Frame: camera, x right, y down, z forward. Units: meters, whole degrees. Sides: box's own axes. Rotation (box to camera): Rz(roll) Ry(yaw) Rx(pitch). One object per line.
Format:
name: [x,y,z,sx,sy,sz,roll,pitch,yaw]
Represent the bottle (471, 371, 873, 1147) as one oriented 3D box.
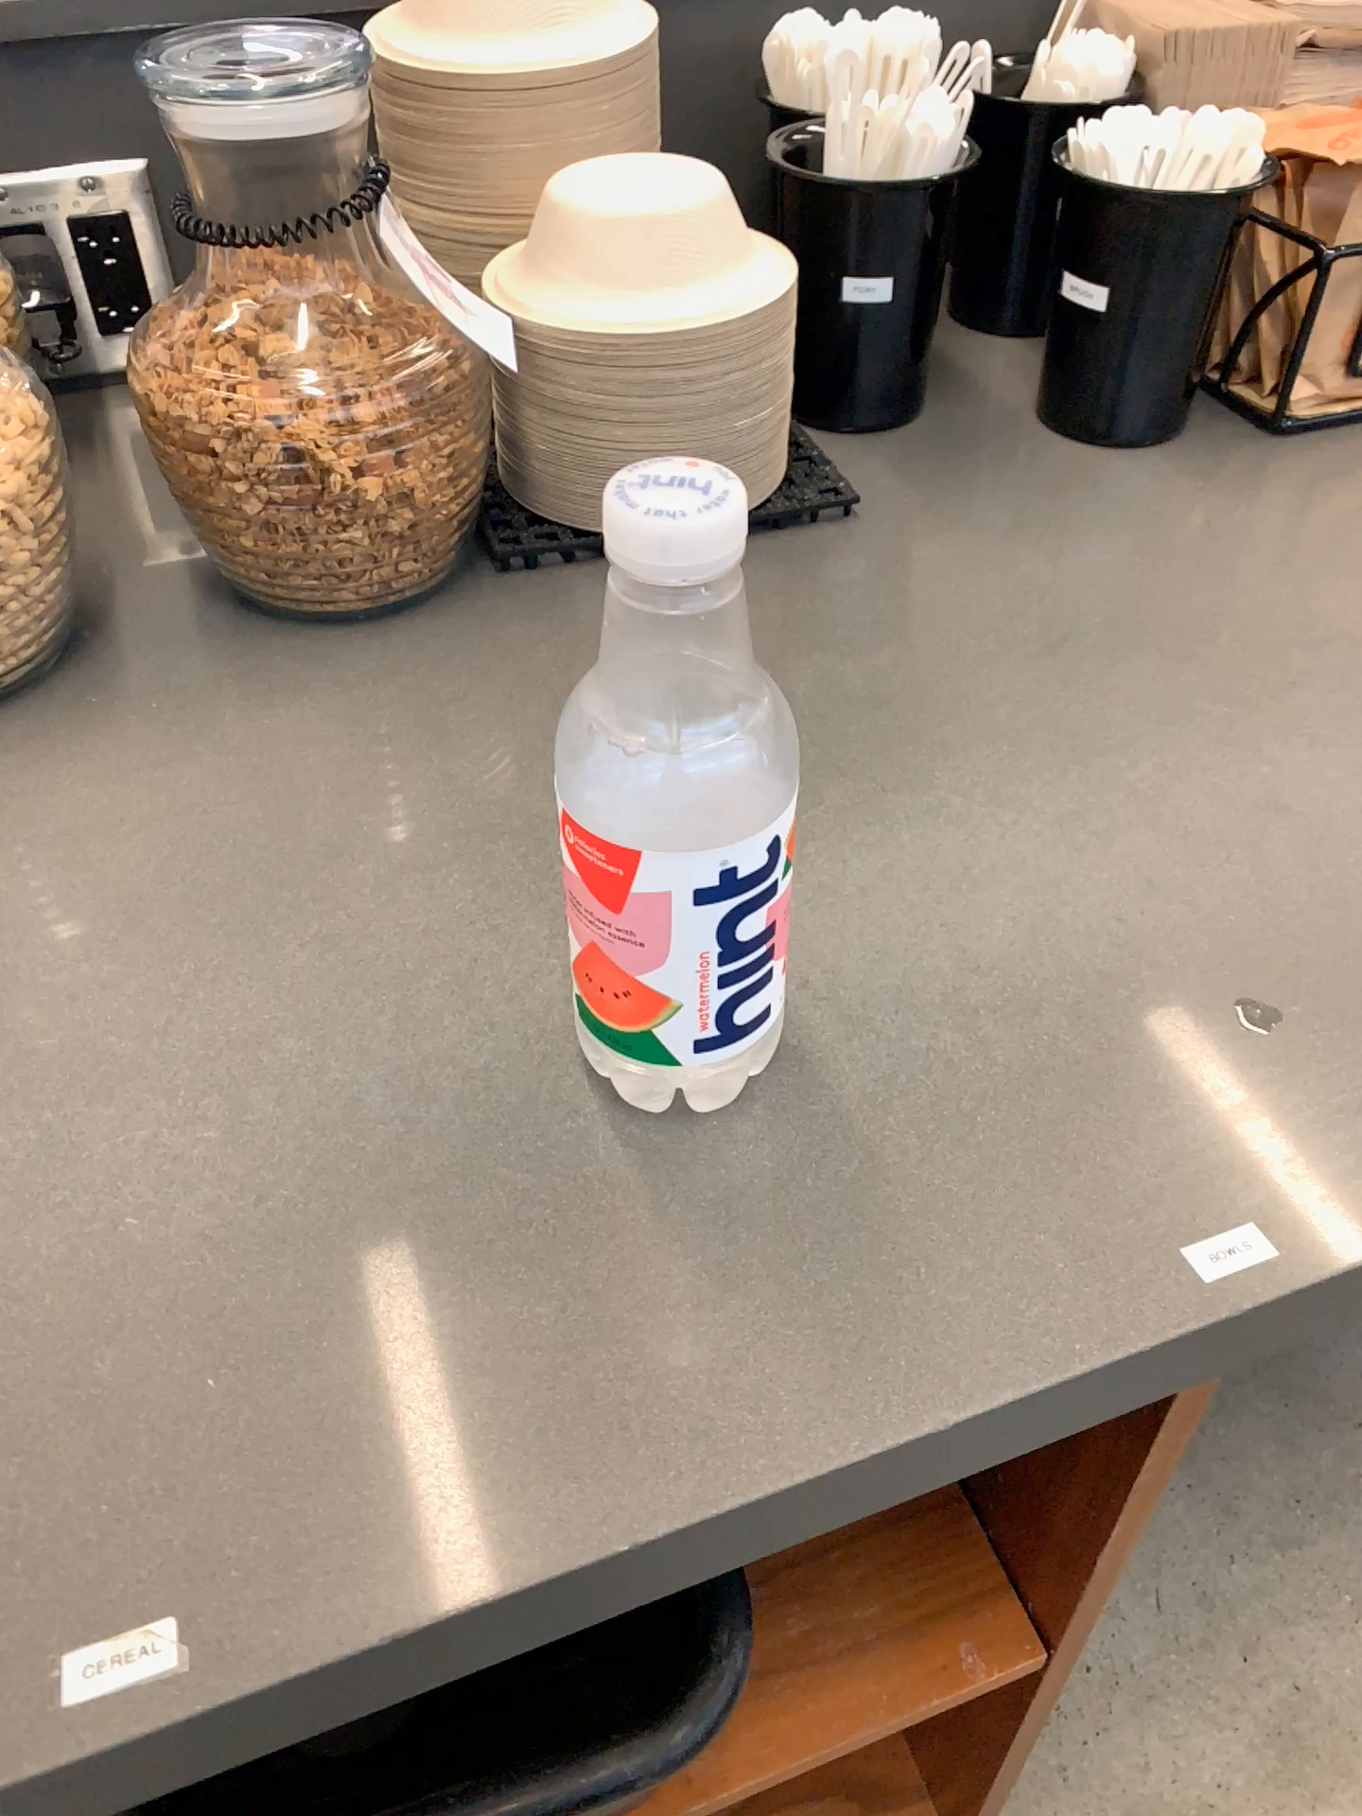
bottle: [-0.004,-0.032,0.390,0.070,0.199,0.070,0,44,0]
